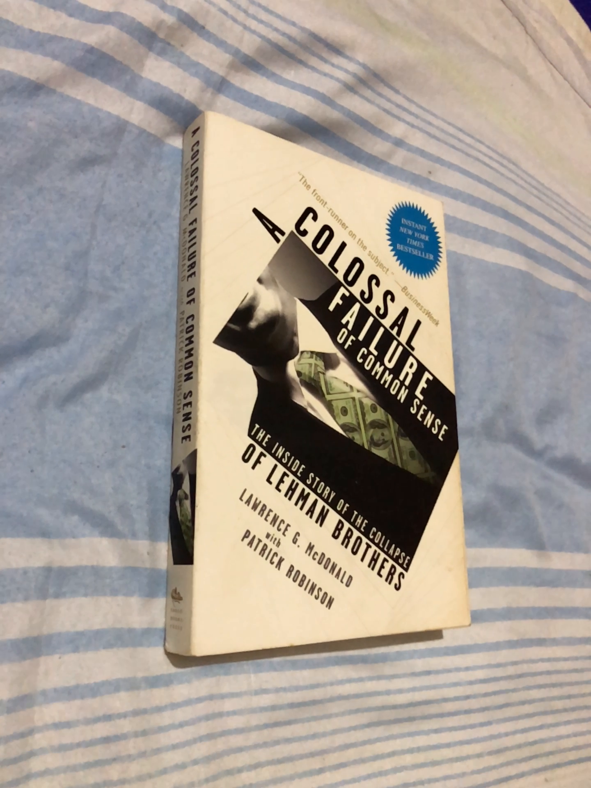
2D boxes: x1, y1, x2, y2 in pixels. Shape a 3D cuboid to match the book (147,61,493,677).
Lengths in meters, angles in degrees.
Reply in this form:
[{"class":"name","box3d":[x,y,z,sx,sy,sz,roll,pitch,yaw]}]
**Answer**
[{"class":"book","box3d":[0.014,-0.008,0.283,0.141,0.040,0.220,8,74,-35]}]
